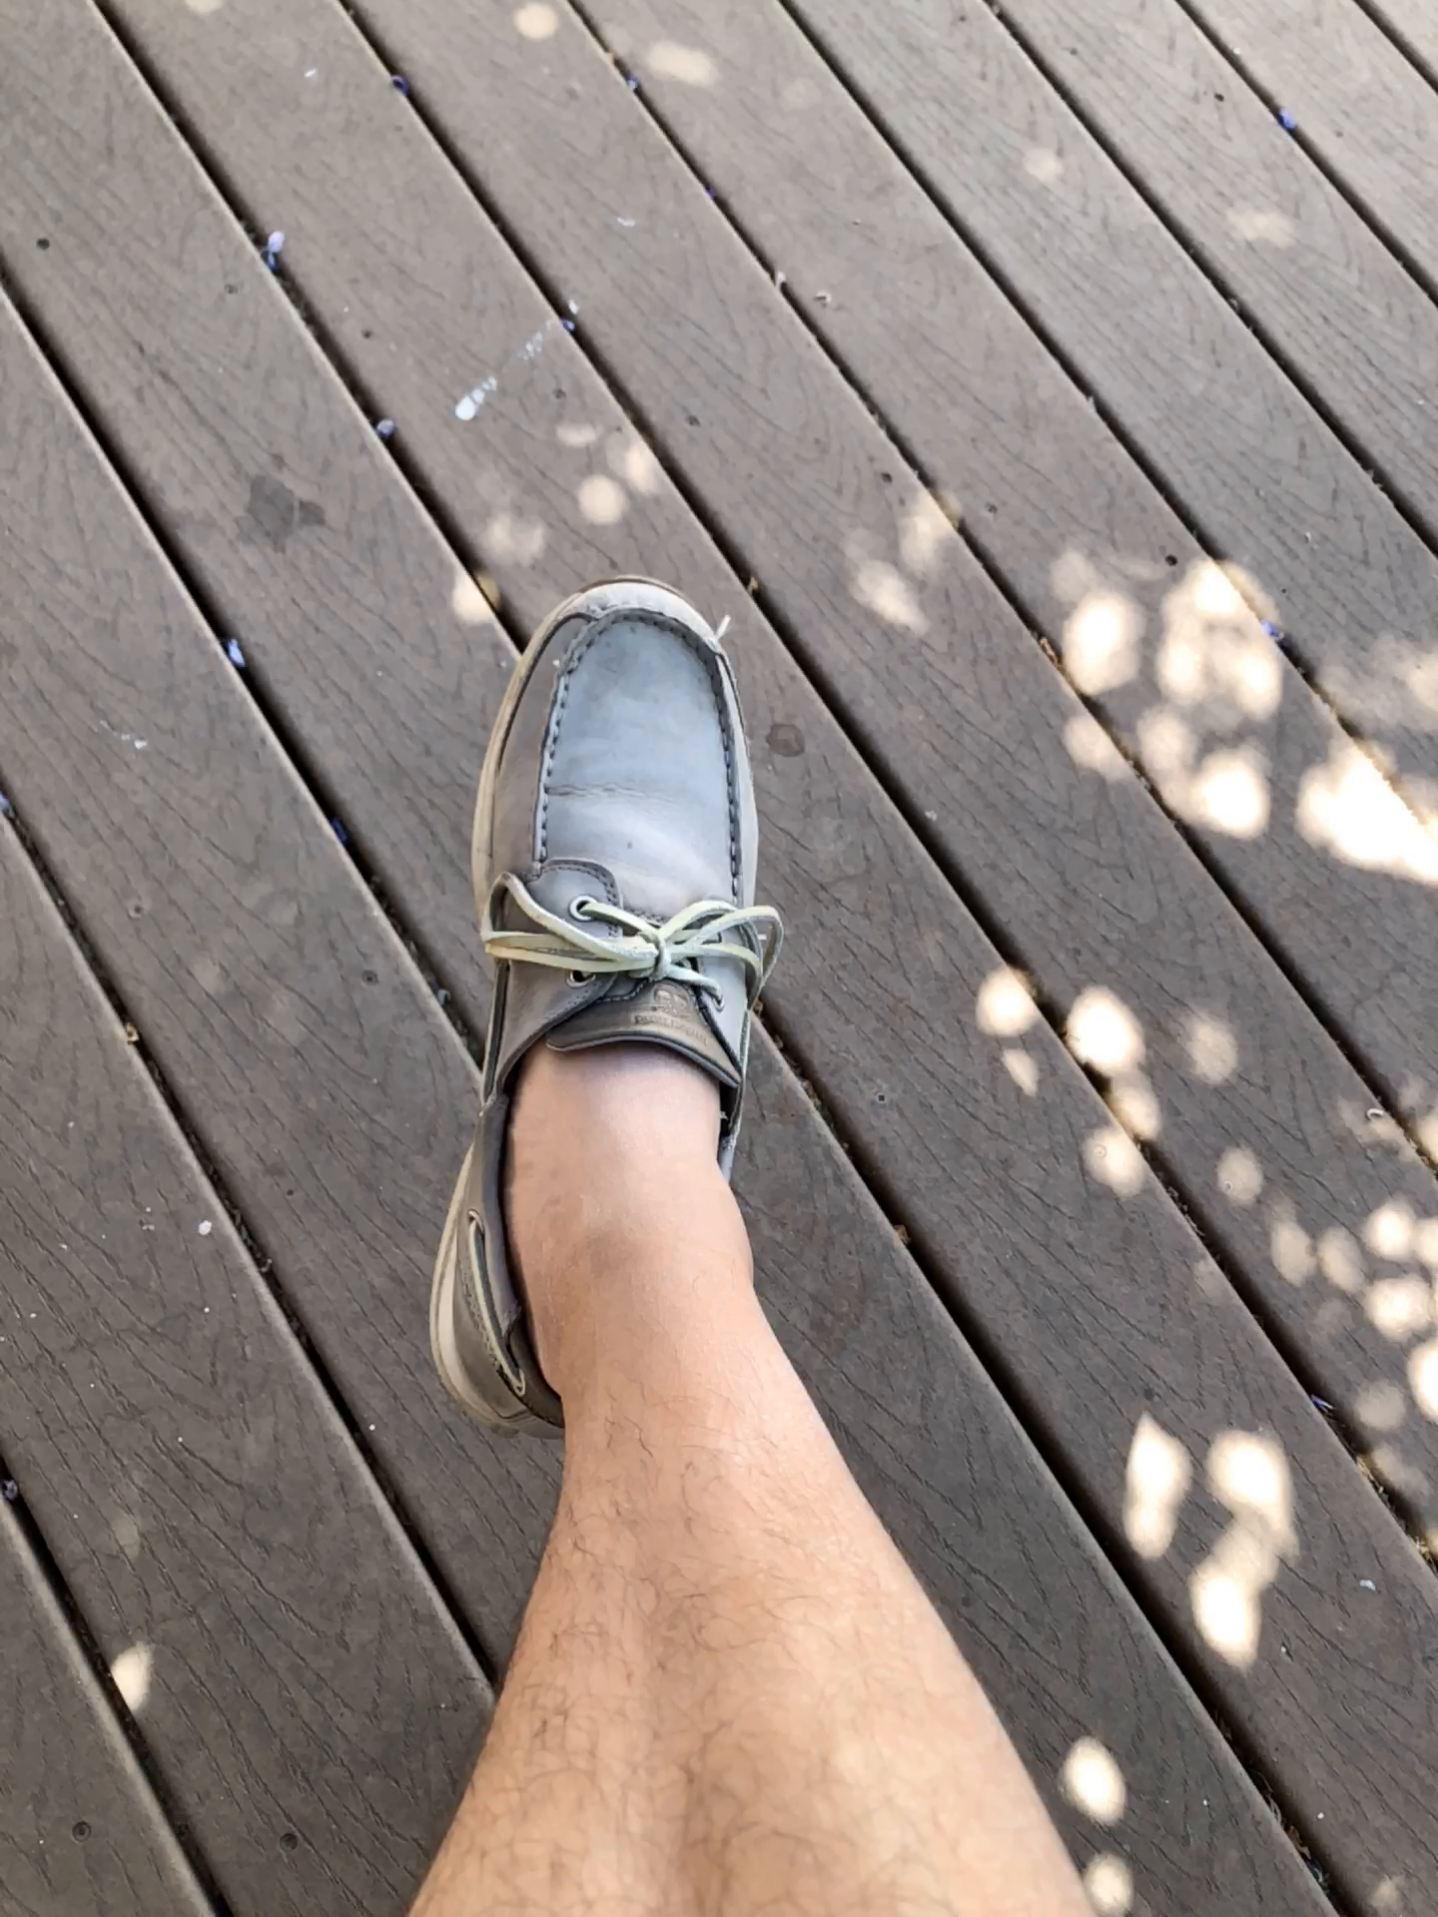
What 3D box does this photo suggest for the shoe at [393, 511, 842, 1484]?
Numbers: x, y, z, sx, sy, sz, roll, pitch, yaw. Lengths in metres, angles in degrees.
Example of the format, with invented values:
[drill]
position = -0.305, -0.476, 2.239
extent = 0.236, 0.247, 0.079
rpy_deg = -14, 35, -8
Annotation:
[shoe]
position = -0.035, 0.013, 0.556
extent = 0.115, 0.085, 0.306
rpy_deg = 6, 81, -7
